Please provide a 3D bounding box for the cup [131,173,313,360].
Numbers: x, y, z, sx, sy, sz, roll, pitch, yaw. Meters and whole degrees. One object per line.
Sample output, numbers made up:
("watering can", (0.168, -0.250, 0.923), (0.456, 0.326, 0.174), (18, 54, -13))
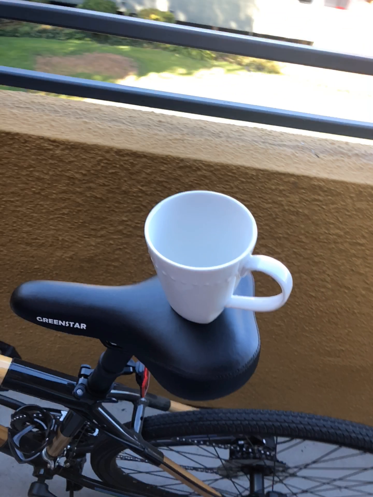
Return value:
("cup", (0.029, 0.014, 0.380), (0.130, 0.100, 0.090), (21, 46, 11))
